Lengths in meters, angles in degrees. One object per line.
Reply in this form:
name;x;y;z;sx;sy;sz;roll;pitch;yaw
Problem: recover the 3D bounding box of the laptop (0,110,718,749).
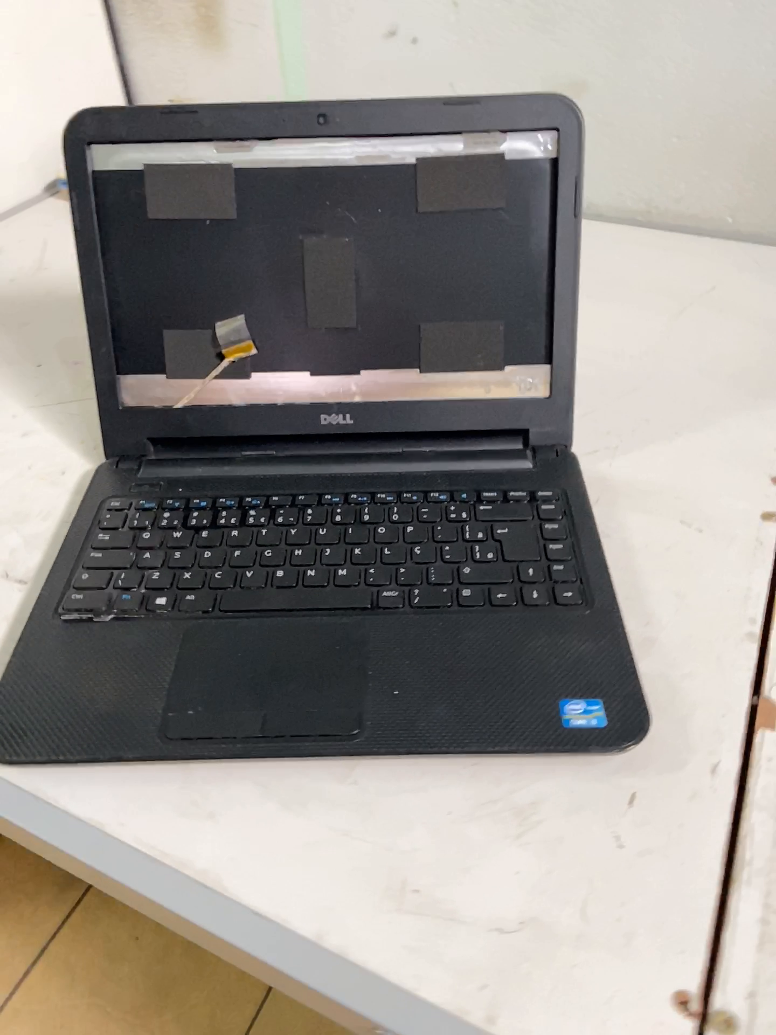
laptop;-0.048;-0.072;0.451;0.319;0.193;0.337;-1;42;2
